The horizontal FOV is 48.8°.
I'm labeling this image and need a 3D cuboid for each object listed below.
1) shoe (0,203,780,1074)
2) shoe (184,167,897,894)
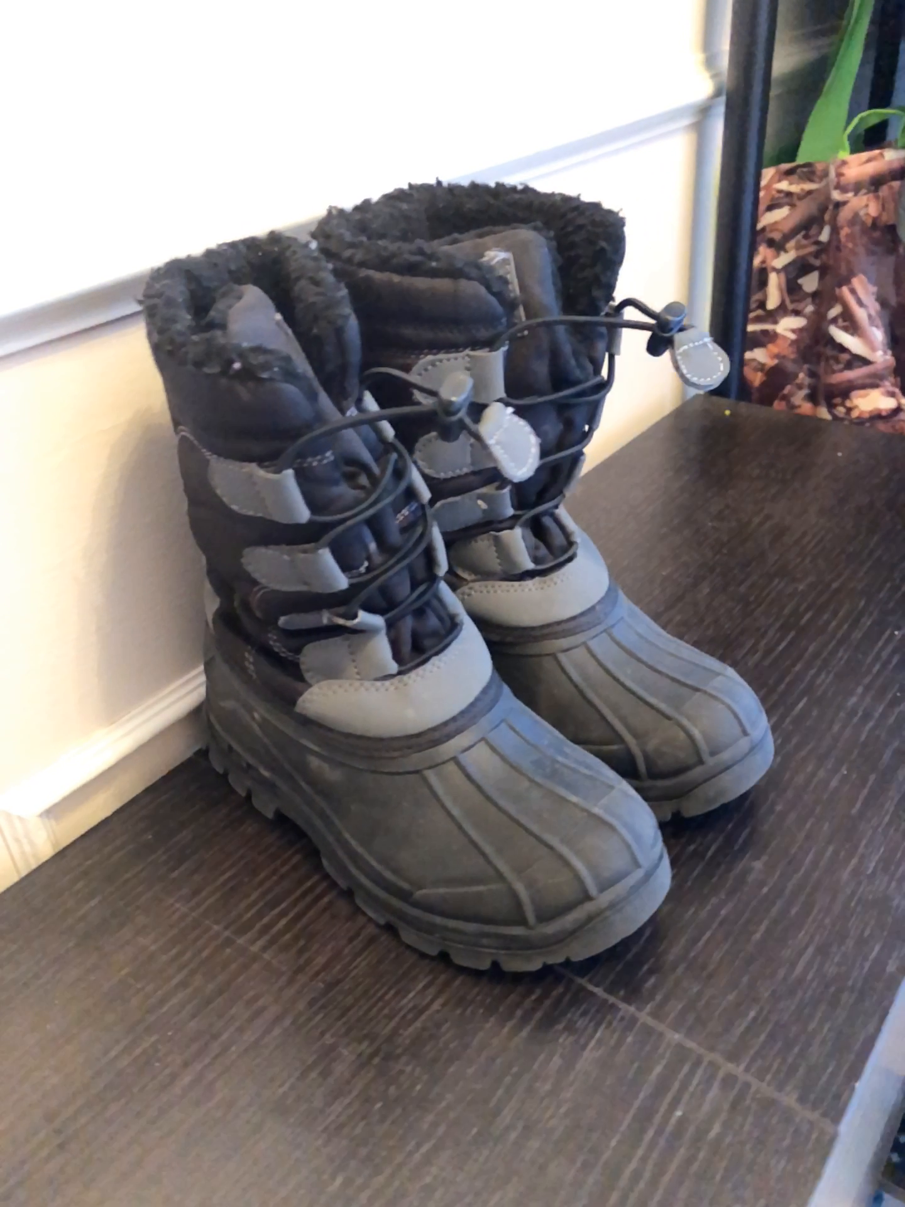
[{"bbox_3d":[-0.029,-0.005,0.333,0.221,0.209,0.100,22,40,34],"label":"shoe"},{"bbox_3d":[0.025,-0.043,0.388,0.221,0.209,0.100,22,40,34],"label":"shoe"}]
